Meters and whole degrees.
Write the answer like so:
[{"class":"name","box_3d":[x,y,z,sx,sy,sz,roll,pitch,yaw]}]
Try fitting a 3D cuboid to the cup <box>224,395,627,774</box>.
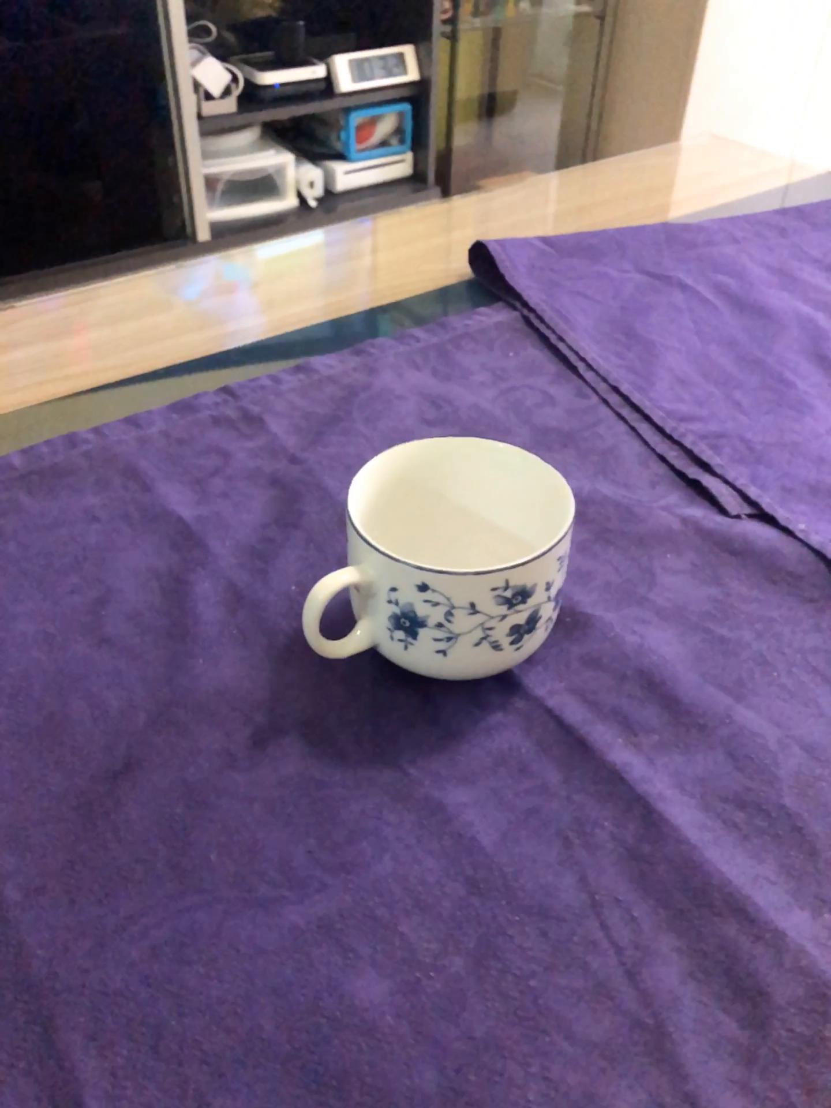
[{"class":"cup","box_3d":[0.003,0.005,0.299,0.100,0.060,0.070,-26,47,-29]}]
